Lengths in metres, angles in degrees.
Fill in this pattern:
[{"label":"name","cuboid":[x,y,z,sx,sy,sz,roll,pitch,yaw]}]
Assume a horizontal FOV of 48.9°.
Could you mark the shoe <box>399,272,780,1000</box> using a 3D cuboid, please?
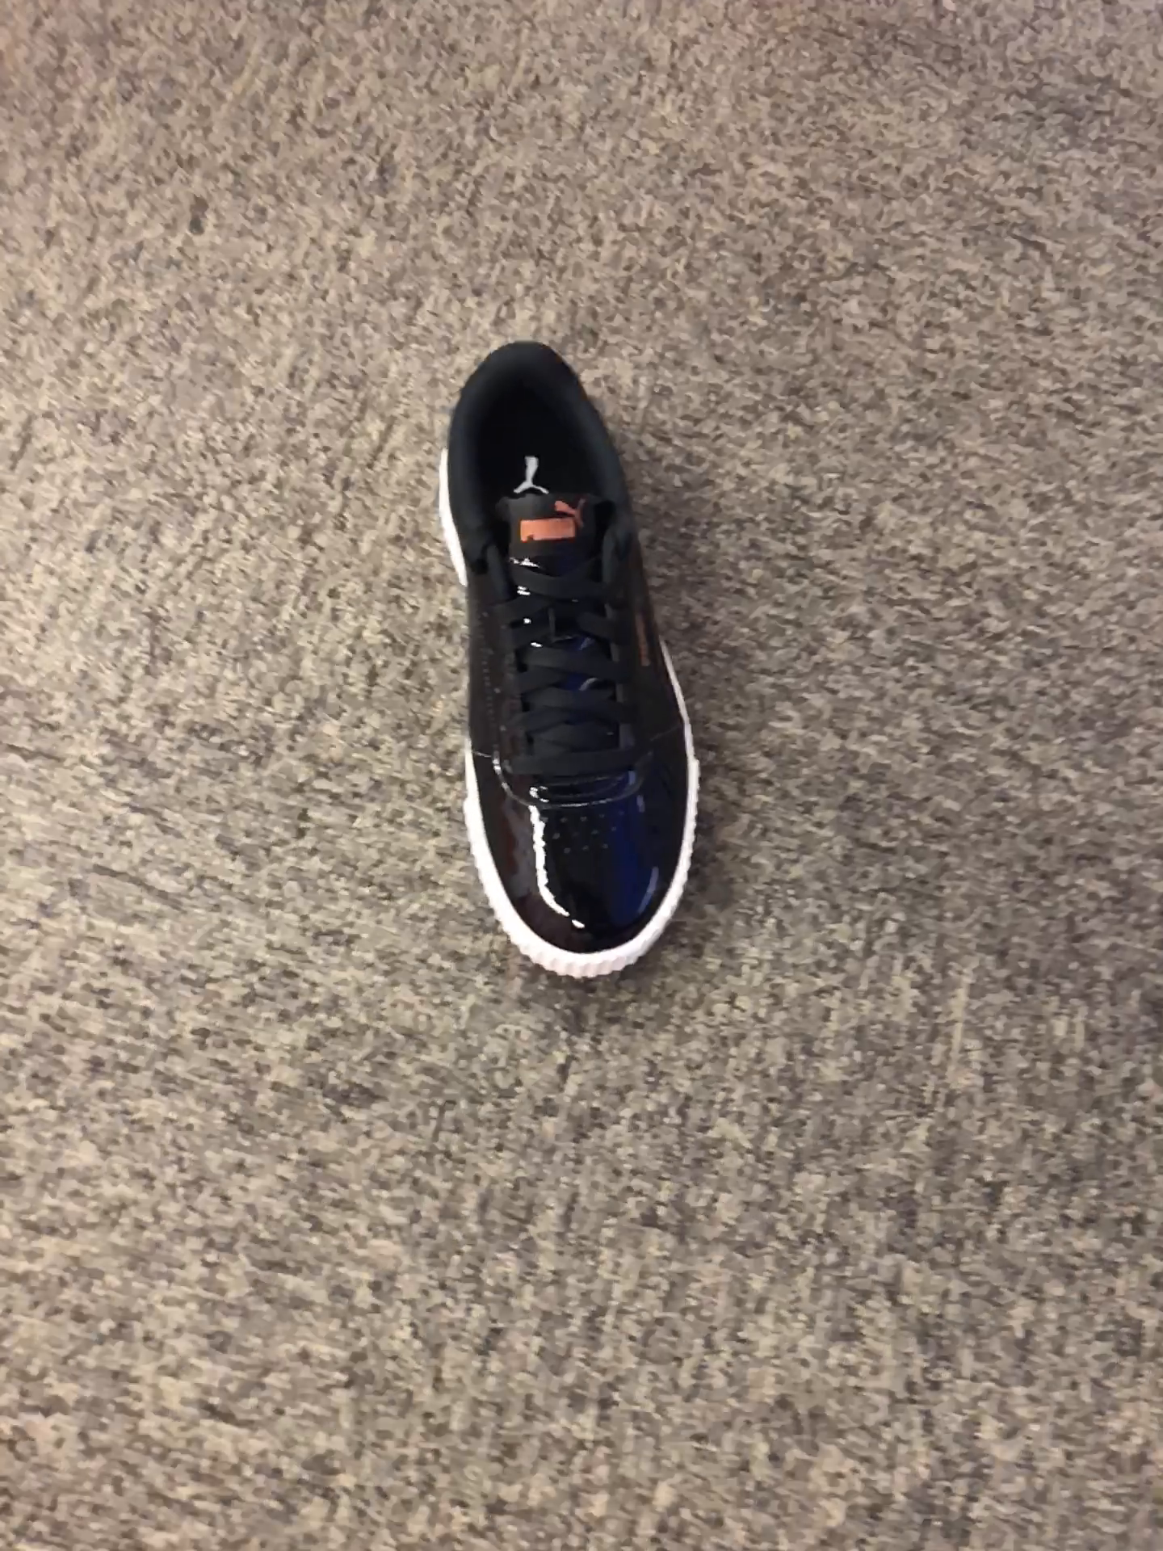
[{"label":"shoe","cuboid":[-0.007,-0.053,0.506,0.100,0.100,0.260,-6,76,-9]}]
